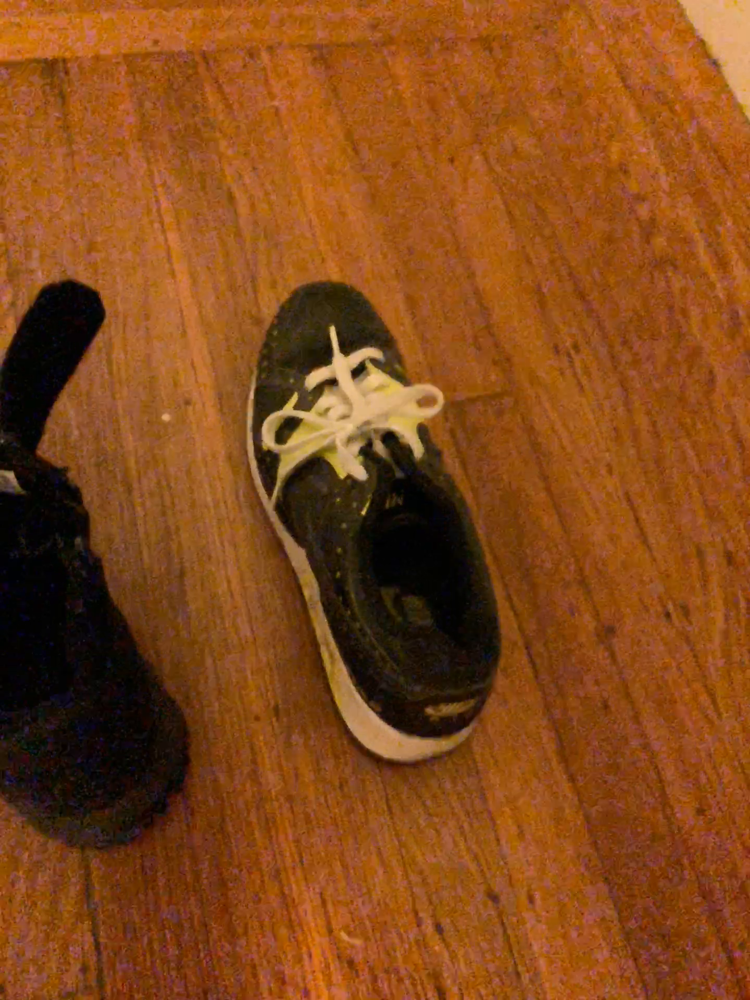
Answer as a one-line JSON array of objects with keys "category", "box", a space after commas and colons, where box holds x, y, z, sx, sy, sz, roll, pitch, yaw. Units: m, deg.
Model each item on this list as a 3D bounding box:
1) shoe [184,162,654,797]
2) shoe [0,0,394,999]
[{"category": "shoe", "box": [0.003, -0.018, 0.400, 0.120, 0.100, 0.290, -15, 70, -16]}, {"category": "shoe", "box": [-0.172, 0.005, 0.344, 0.160, 0.240, 0.310, -36, 77, -22]}]
